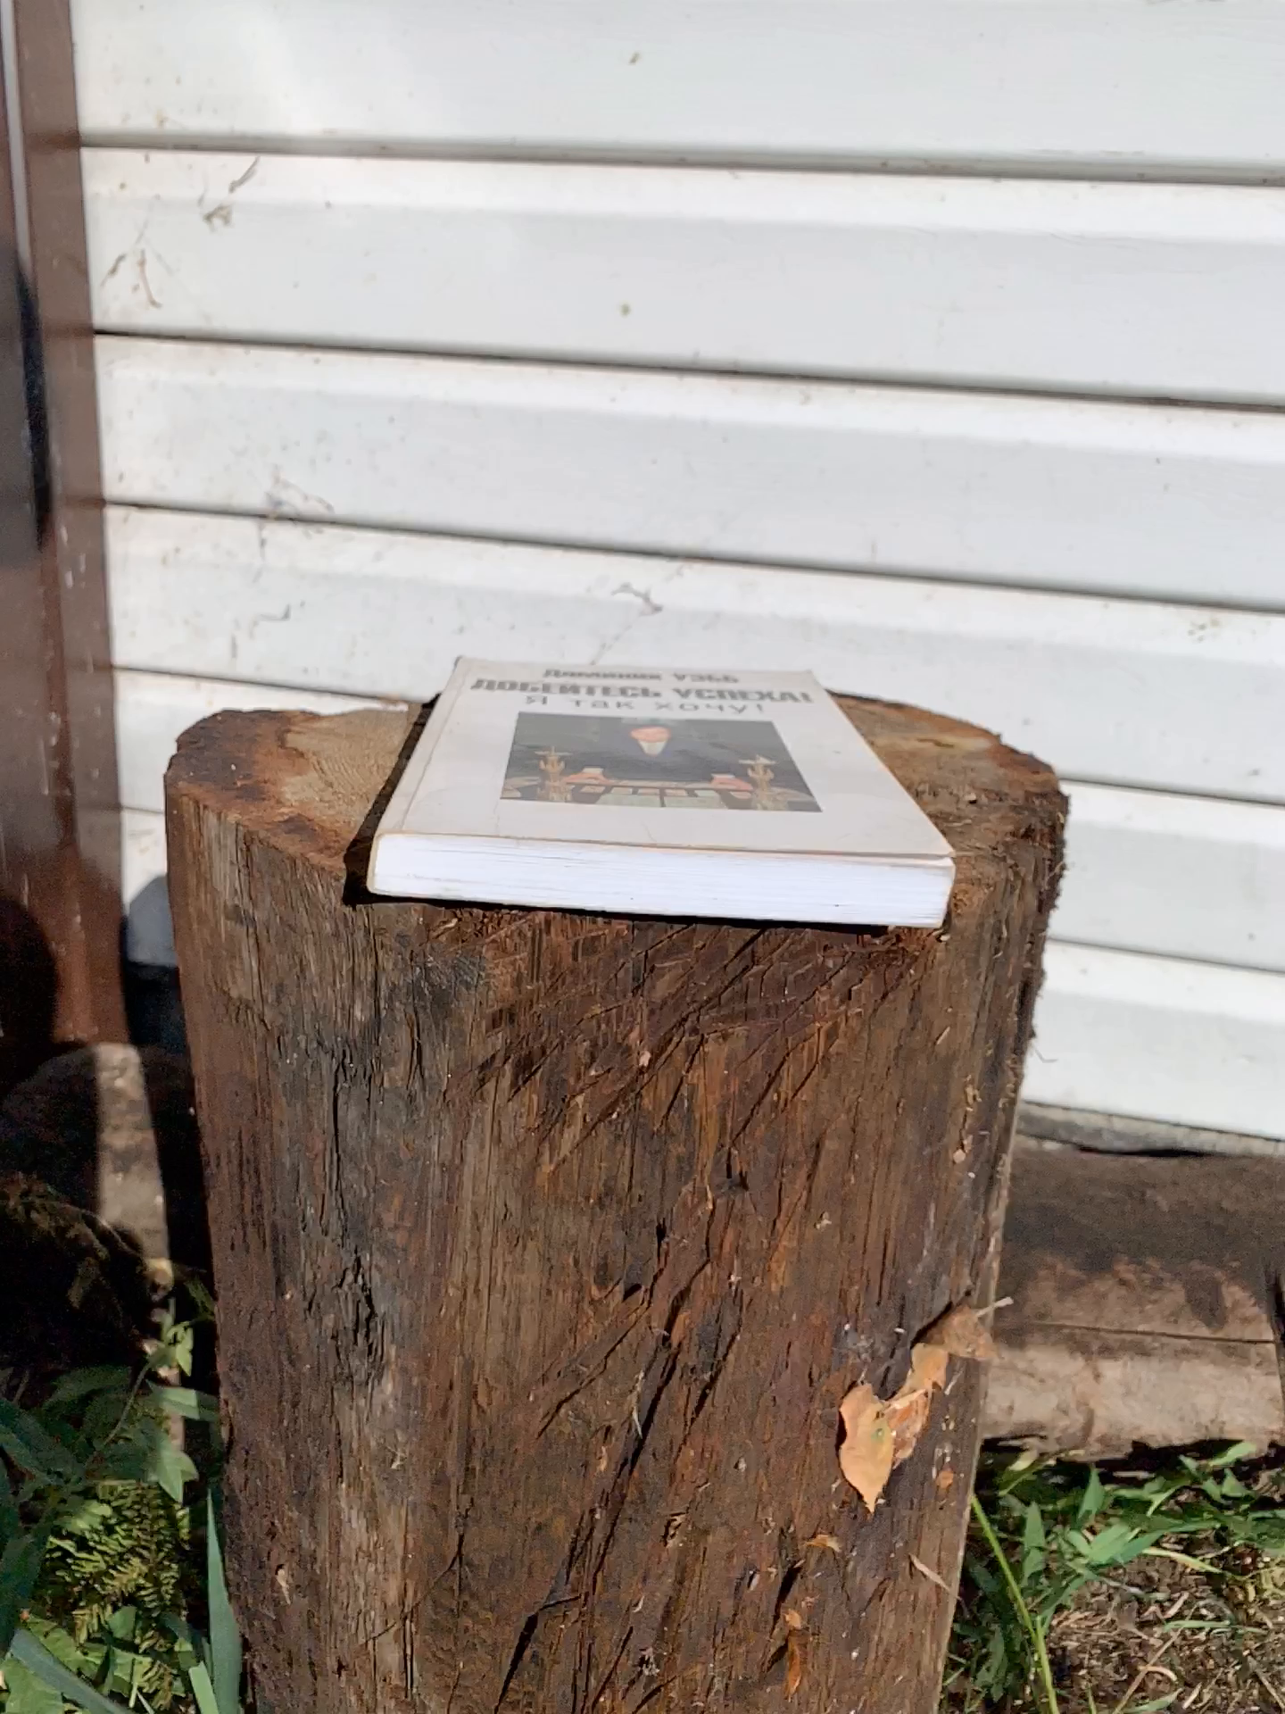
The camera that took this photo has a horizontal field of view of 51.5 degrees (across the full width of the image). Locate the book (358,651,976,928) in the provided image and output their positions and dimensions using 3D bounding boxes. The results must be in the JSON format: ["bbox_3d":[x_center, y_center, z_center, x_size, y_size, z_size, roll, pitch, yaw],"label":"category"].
[{"bbox_3d":[0.002,-0.030,0.402,0.139,0.020,0.211,3,19,-3],"label":"book"}]
